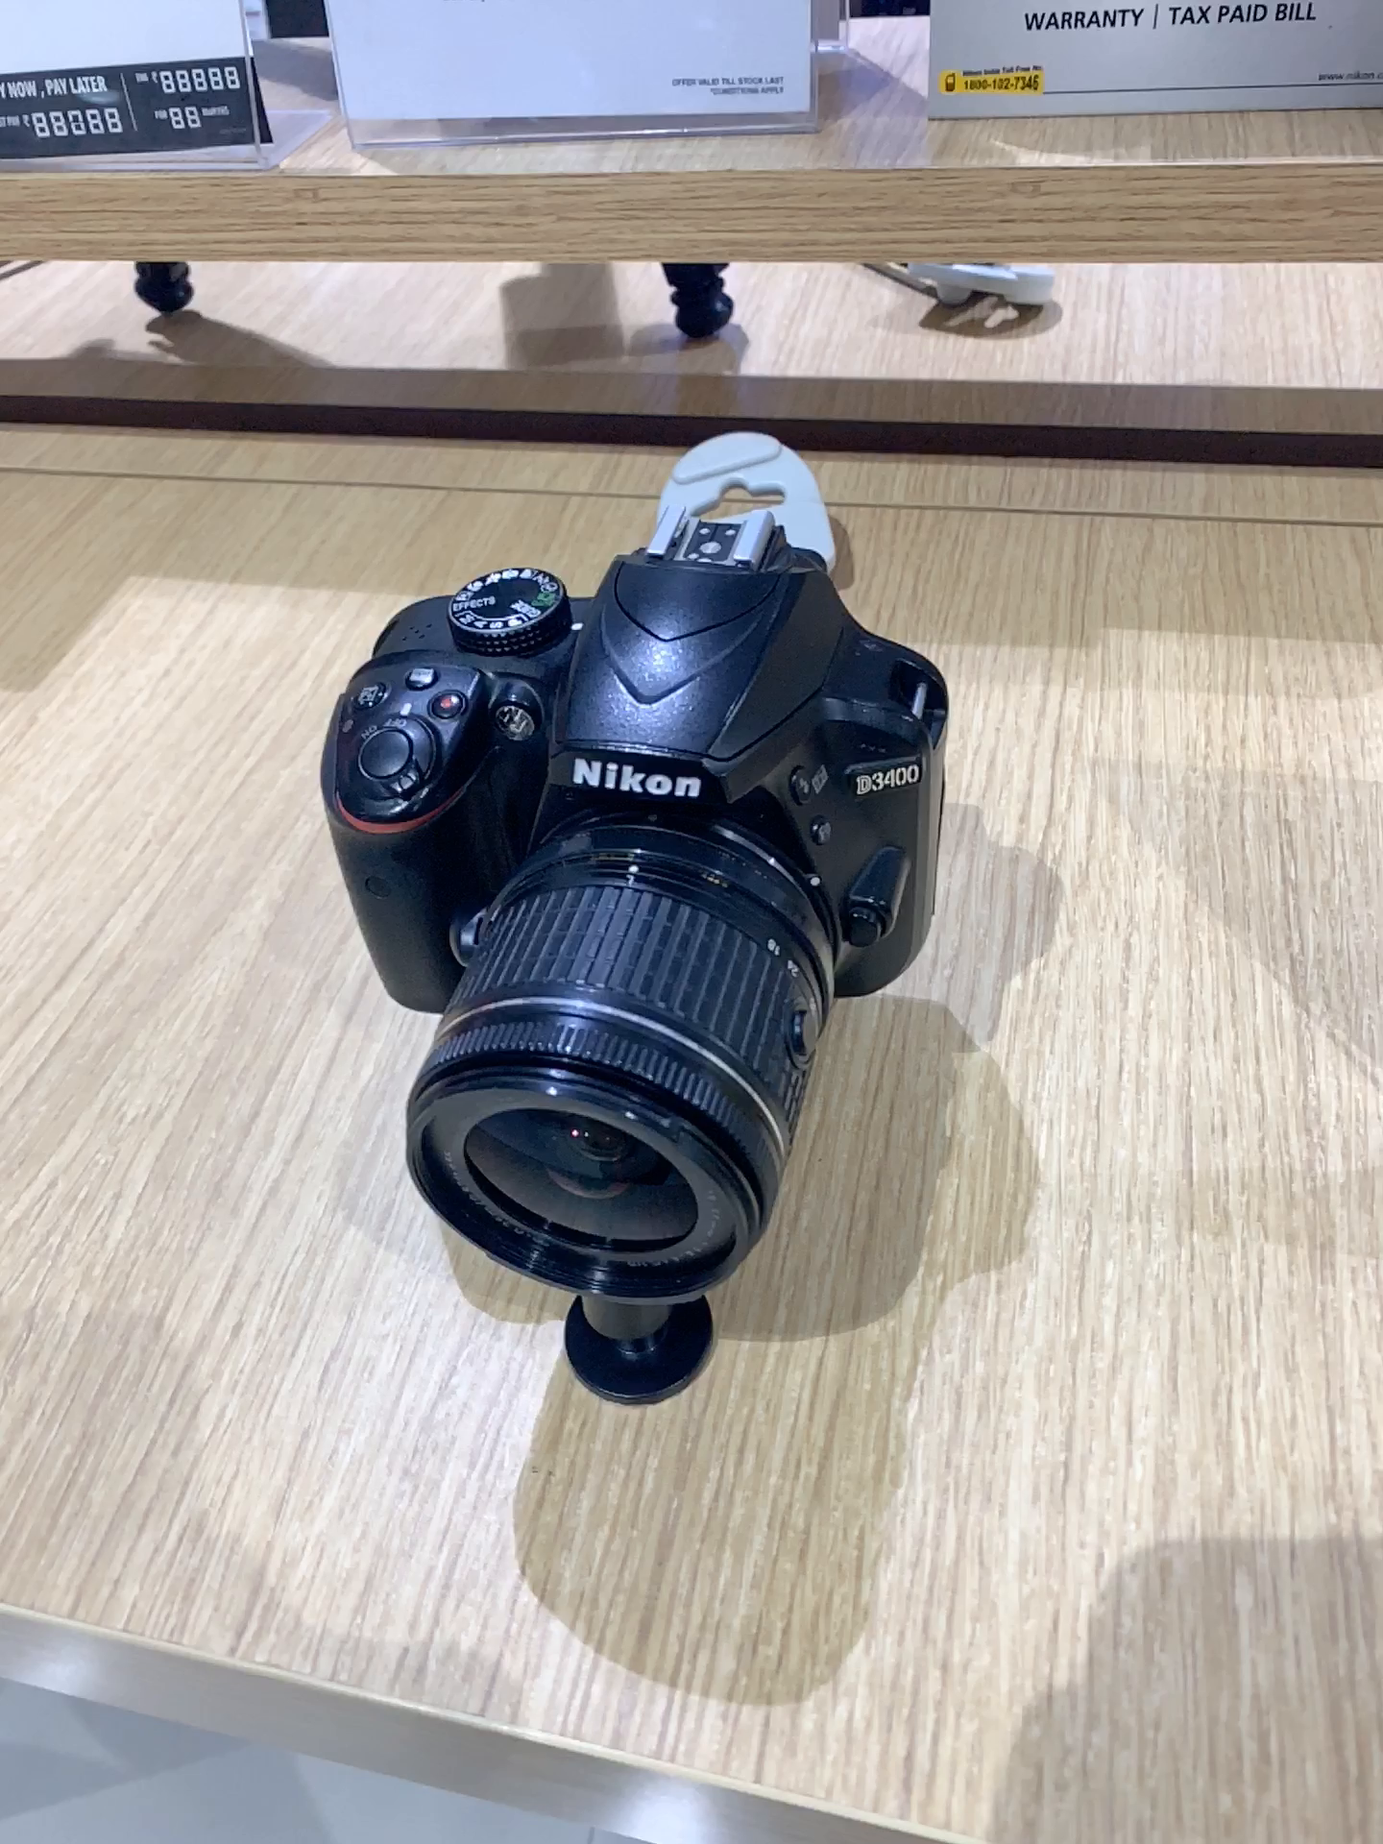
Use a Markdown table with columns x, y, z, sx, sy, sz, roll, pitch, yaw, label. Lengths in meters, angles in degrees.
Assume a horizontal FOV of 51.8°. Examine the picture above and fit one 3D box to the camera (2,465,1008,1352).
| x | y | z | sx | sy | sz | roll | pitch | yaw | label |
| --- | --- | --- | --- | --- | --- | --- | --- | --- | --- |
| -0.015 | -0.008 | 0.217 | 0.110 | 0.073 | 0.100 | 7 | 47 | 11 | camera |
